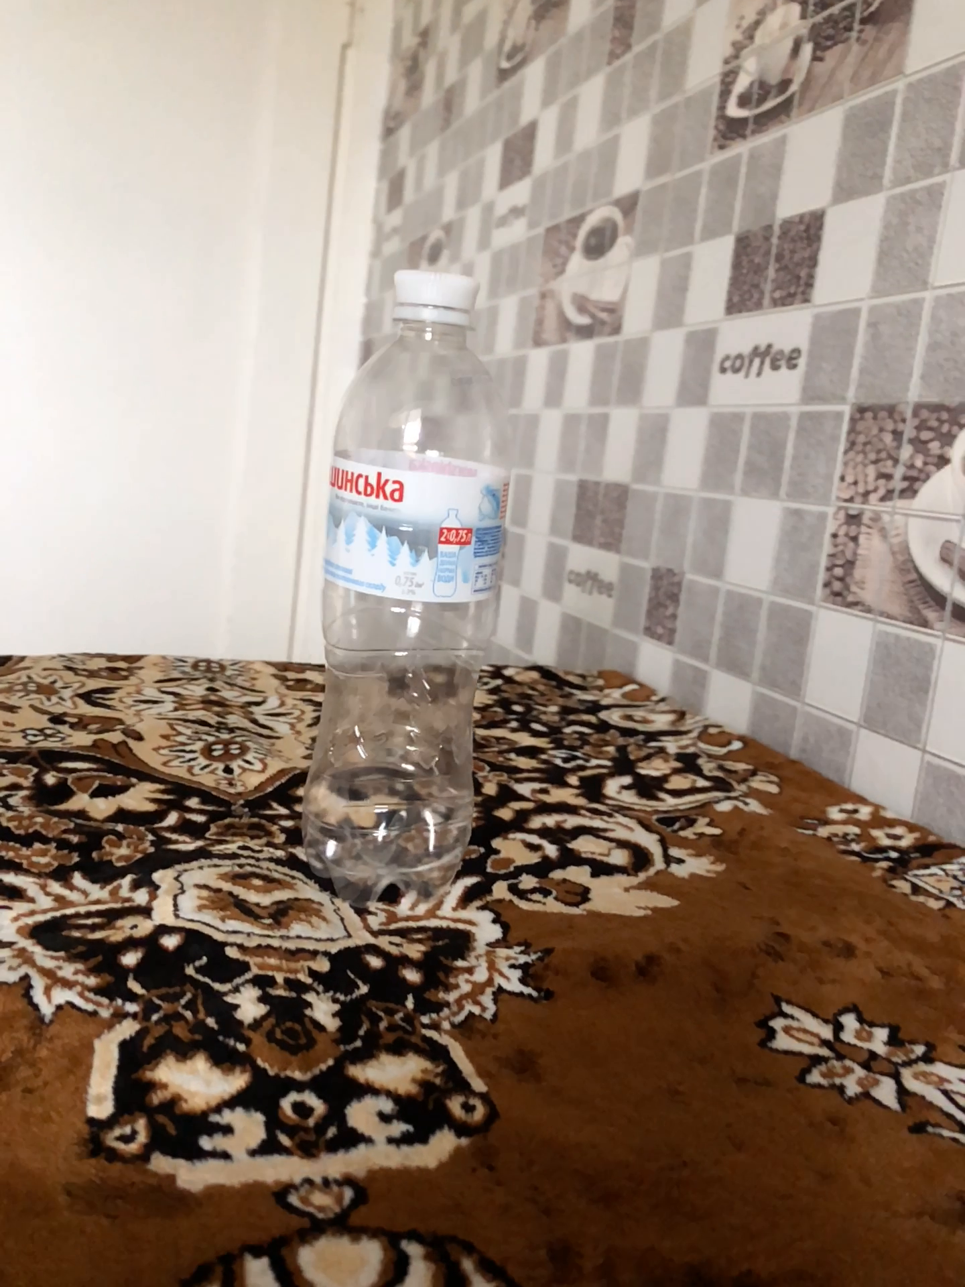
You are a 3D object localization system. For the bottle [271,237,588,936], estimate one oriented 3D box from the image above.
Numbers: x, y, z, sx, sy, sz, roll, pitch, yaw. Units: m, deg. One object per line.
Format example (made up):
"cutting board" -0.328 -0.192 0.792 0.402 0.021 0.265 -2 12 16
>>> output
"bottle" -0.029 -0.022 0.429 0.080 0.249 0.090 1 13 -22
